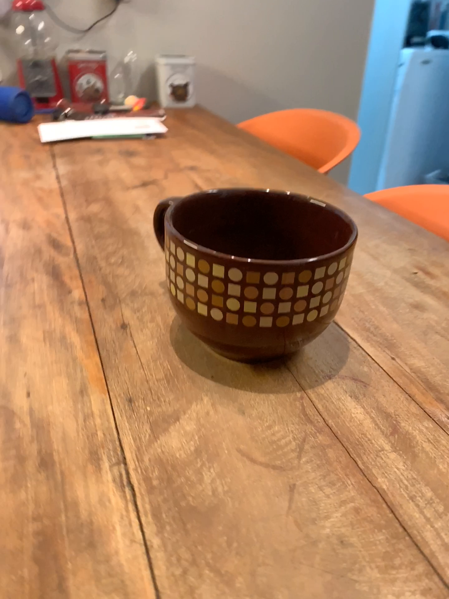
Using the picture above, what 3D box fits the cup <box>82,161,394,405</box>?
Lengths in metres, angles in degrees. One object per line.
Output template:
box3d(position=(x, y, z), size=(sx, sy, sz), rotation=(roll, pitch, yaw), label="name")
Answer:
box3d(position=(0.008, -0.032, 0.362), size=(0.181, 0.089, 0.140), rotation=(25, 39, 34), label="cup")
